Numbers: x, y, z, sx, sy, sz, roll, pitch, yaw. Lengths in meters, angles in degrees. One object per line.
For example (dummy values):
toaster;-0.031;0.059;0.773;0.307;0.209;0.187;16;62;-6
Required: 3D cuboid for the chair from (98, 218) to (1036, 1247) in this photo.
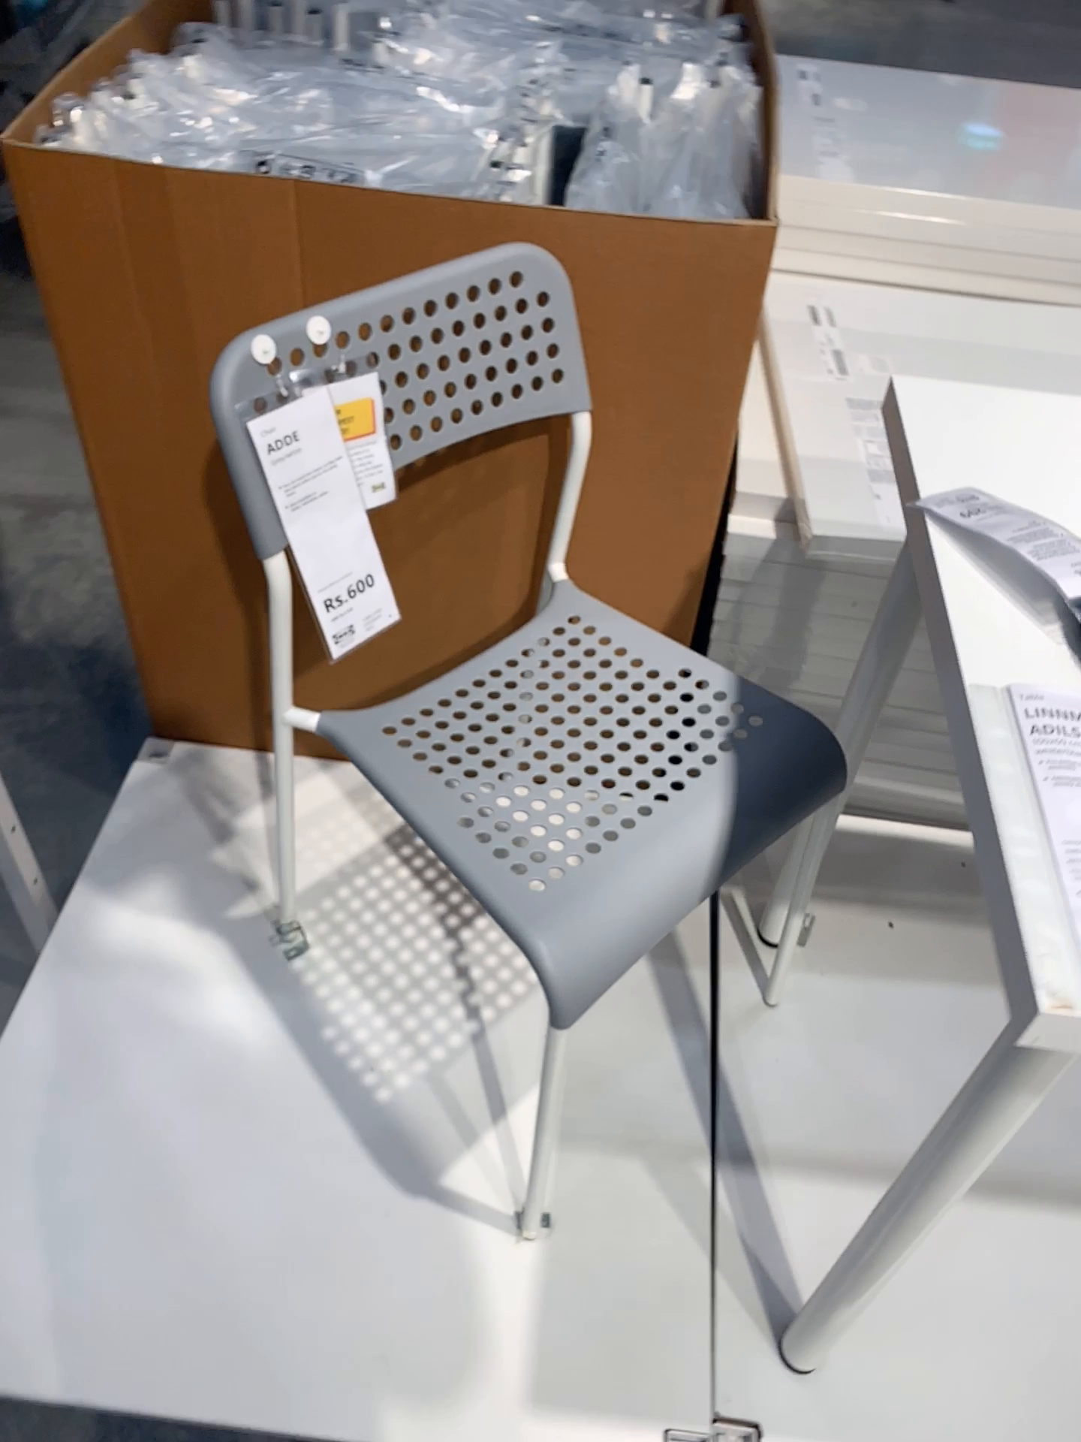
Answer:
chair;-0.005;0.013;1.045;0.461;0.688;0.501;-32;56;-31
